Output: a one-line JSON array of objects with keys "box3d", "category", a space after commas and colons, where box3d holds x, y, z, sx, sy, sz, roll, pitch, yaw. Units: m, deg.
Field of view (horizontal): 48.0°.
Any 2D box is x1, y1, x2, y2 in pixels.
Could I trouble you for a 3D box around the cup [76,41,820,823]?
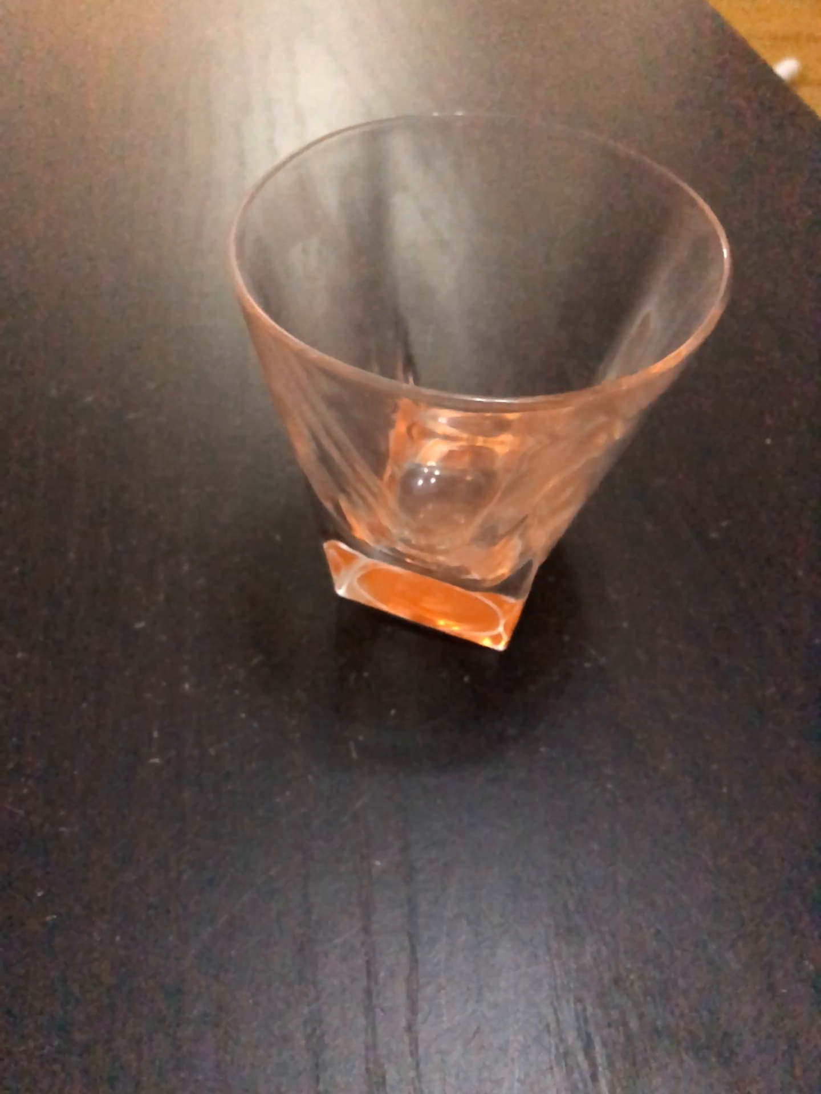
[{"box3d": [0.017, -0.029, 0.208, 0.110, 0.099, 0.111, 1, 50, -2], "category": "cup"}]
